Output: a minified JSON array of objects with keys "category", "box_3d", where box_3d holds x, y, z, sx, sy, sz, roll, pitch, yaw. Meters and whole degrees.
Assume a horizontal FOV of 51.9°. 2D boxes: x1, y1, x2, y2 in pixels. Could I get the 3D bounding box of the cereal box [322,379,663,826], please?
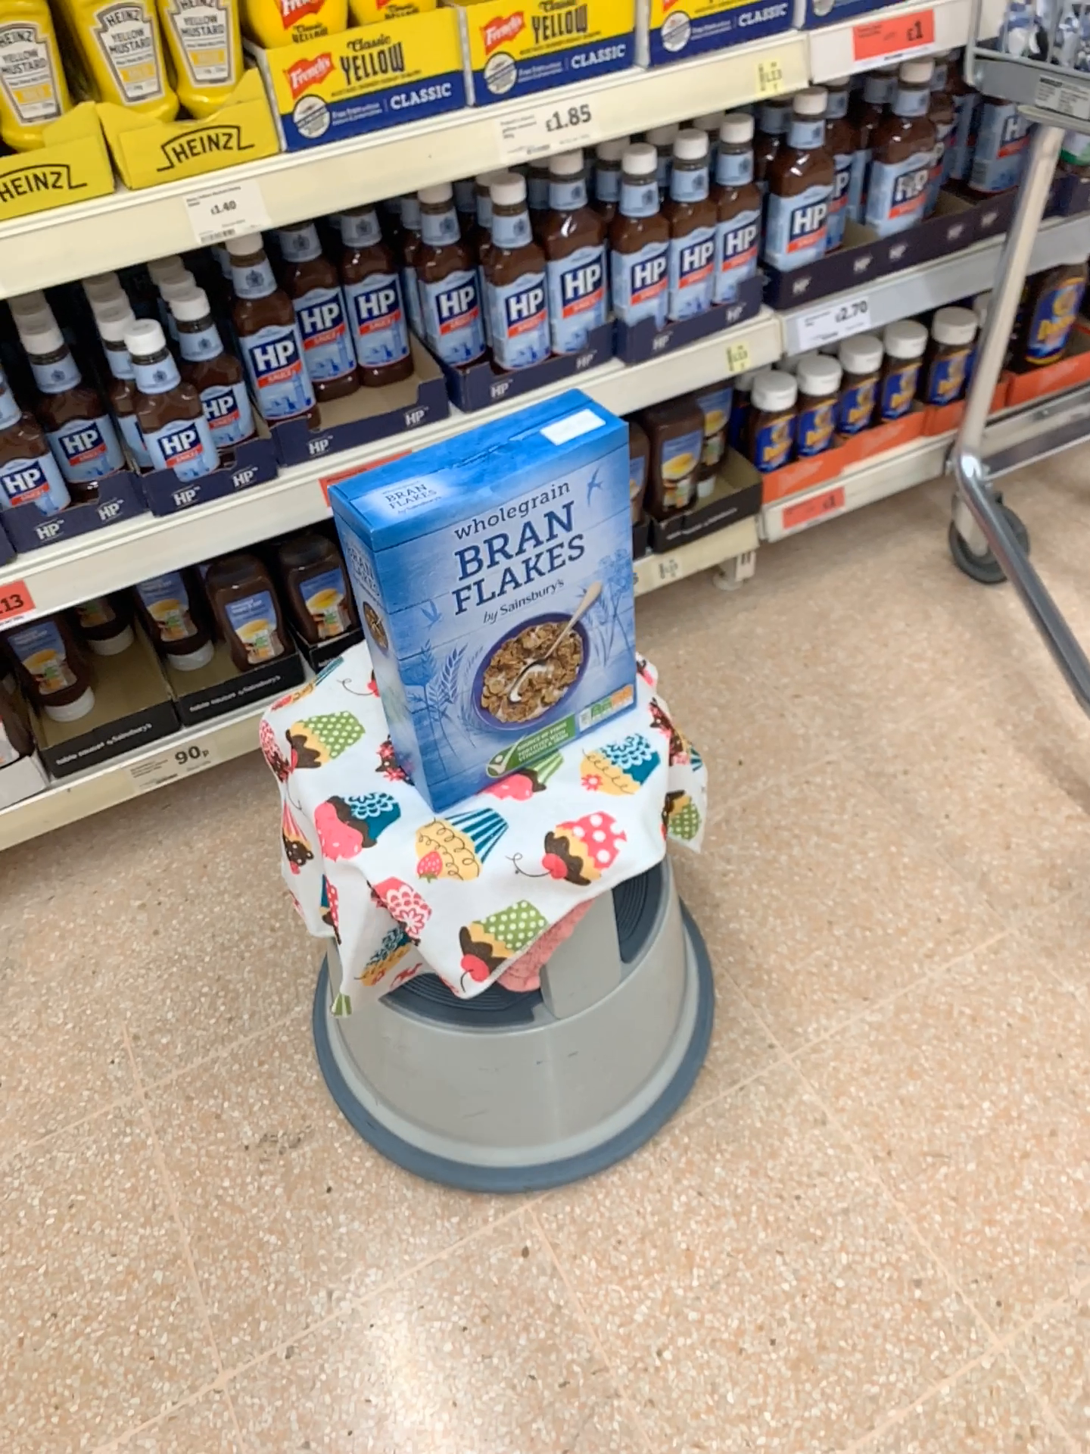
[{"category":"cereal box","box_3d":[-0.023,-0.085,0.817,0.211,0.258,0.081,-28,48,-21]}]
